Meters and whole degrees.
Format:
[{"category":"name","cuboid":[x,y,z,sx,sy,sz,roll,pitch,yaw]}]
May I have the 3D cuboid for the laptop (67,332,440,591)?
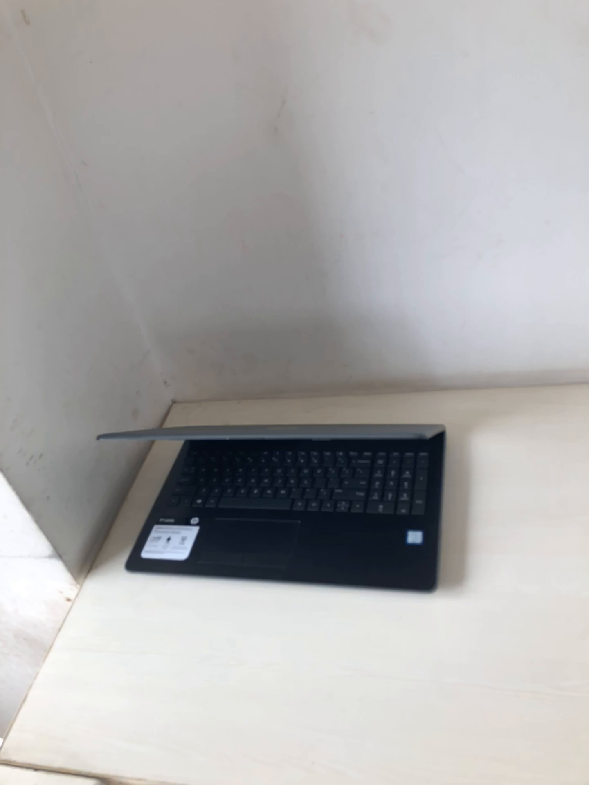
[{"category":"laptop","cuboid":[-0.021,0.067,0.750,0.356,0.157,0.246,-1,38,16]}]
